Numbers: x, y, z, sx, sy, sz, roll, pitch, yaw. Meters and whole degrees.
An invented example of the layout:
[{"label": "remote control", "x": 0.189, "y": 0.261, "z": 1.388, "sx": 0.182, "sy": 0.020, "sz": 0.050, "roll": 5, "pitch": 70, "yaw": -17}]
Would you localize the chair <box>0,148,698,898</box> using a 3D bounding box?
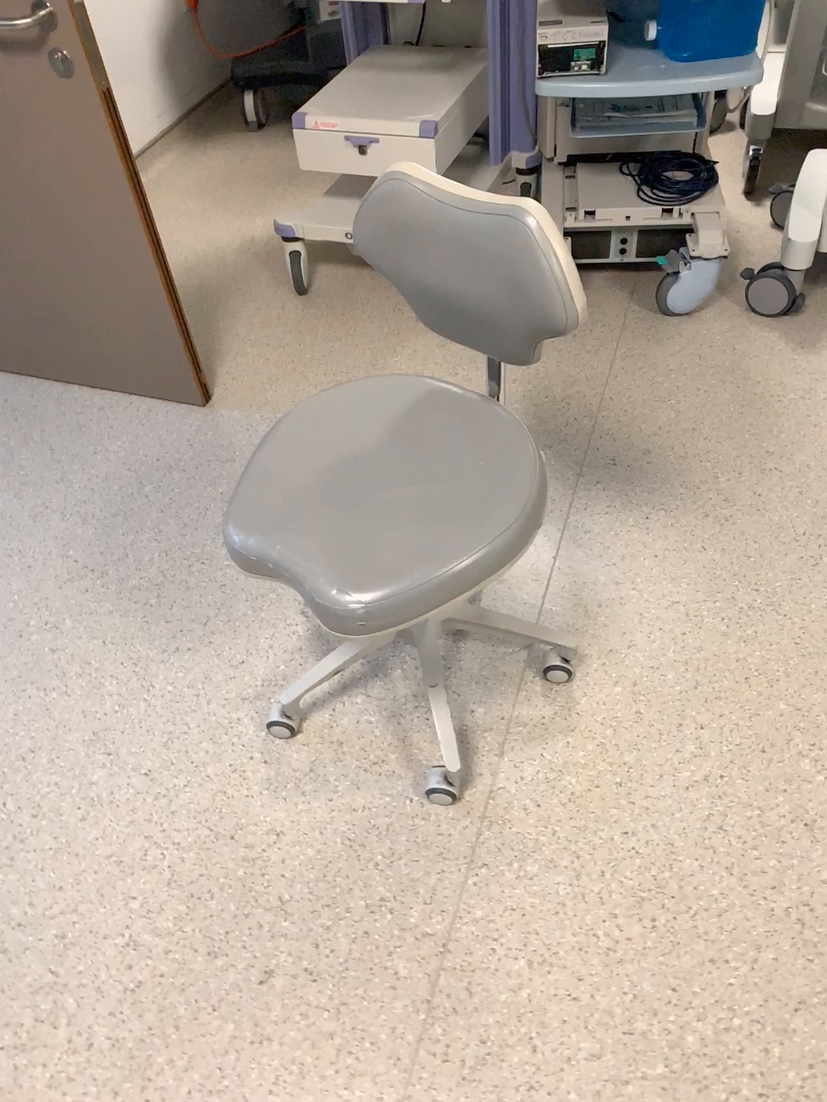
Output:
[{"label": "chair", "x": -0.038, "y": -0.040, "z": 1.313, "sx": 0.603, "sy": 0.822, "sz": 0.603, "roll": 27, "pitch": 56, "yaw": 28}]
